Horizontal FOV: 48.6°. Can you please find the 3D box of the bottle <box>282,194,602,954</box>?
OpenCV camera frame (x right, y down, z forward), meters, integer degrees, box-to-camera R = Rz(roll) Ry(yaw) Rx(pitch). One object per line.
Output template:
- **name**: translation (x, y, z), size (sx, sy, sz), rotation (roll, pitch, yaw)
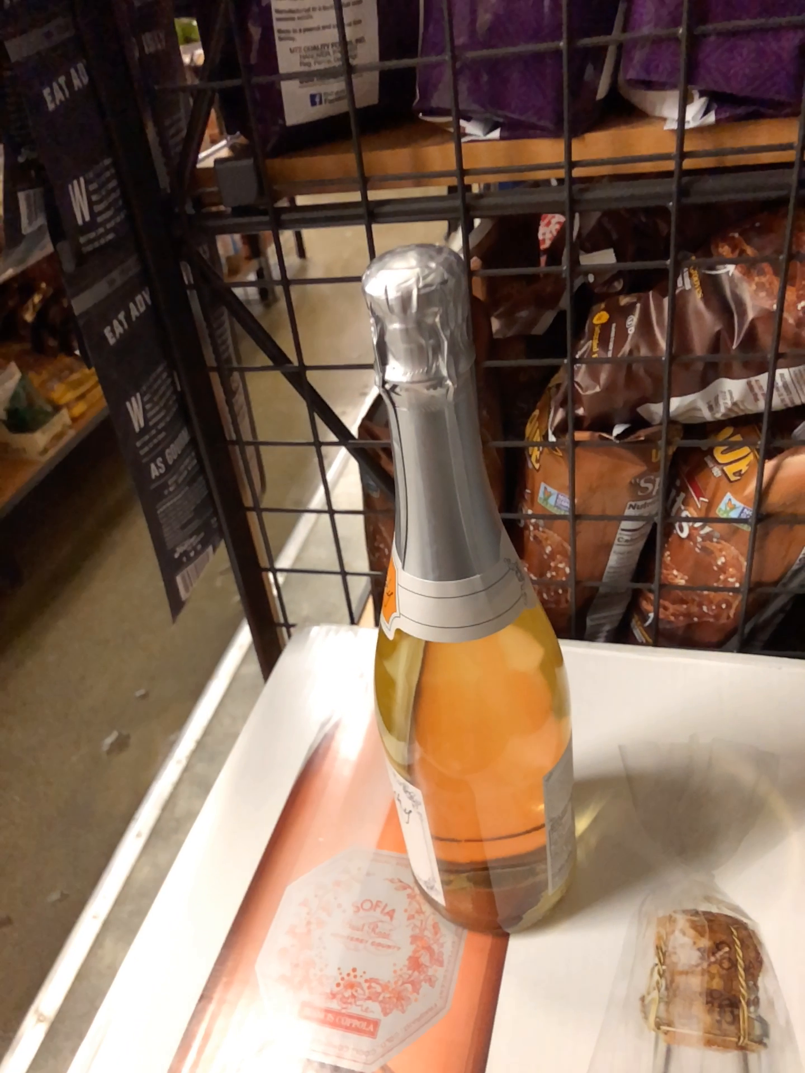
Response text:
- **bottle**: translation (0.032, 0.041, 0.360), size (0.086, 0.319, 0.078), rotation (-2, 34, 8)
